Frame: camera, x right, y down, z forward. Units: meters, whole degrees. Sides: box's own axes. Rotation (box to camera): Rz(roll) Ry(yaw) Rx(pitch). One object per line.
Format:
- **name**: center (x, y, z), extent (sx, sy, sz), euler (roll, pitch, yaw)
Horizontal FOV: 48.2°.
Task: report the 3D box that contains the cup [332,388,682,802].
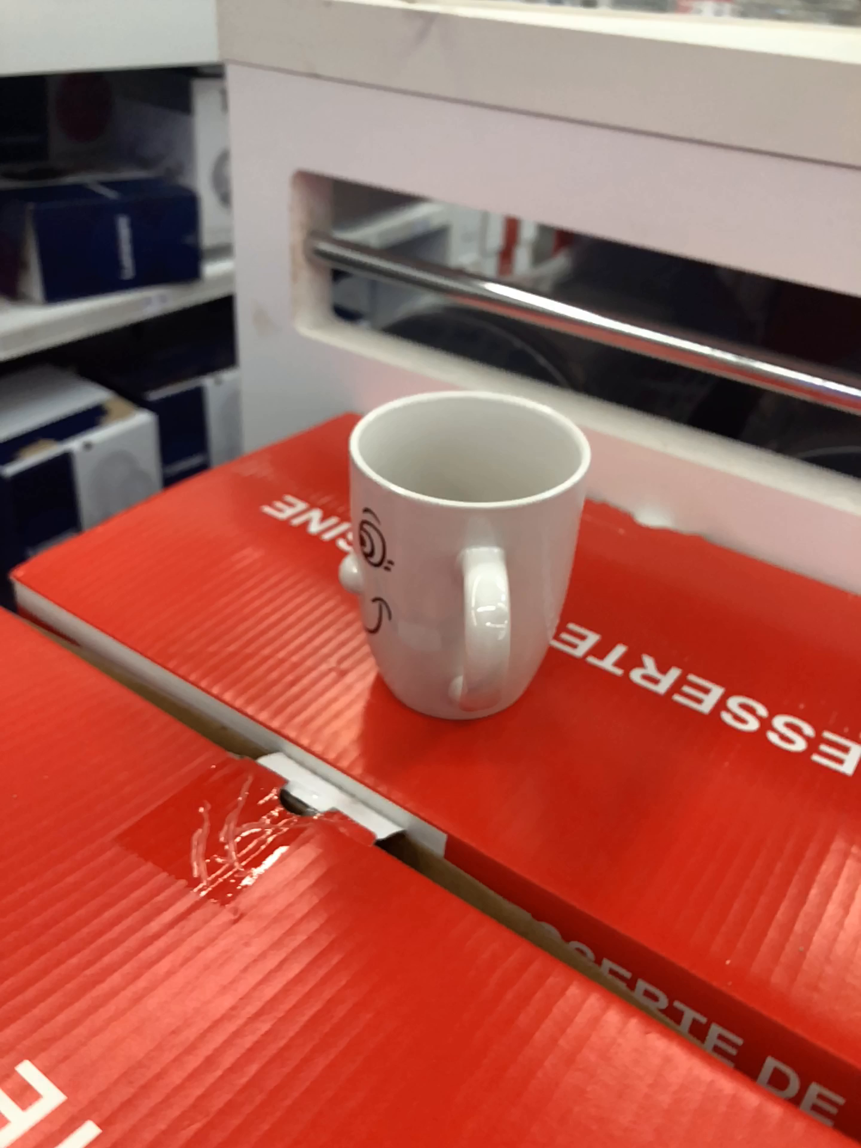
- **cup**: center (0.015, 0.001, 0.346), extent (0.092, 0.092, 0.124), euler (-1, 33, -9)
